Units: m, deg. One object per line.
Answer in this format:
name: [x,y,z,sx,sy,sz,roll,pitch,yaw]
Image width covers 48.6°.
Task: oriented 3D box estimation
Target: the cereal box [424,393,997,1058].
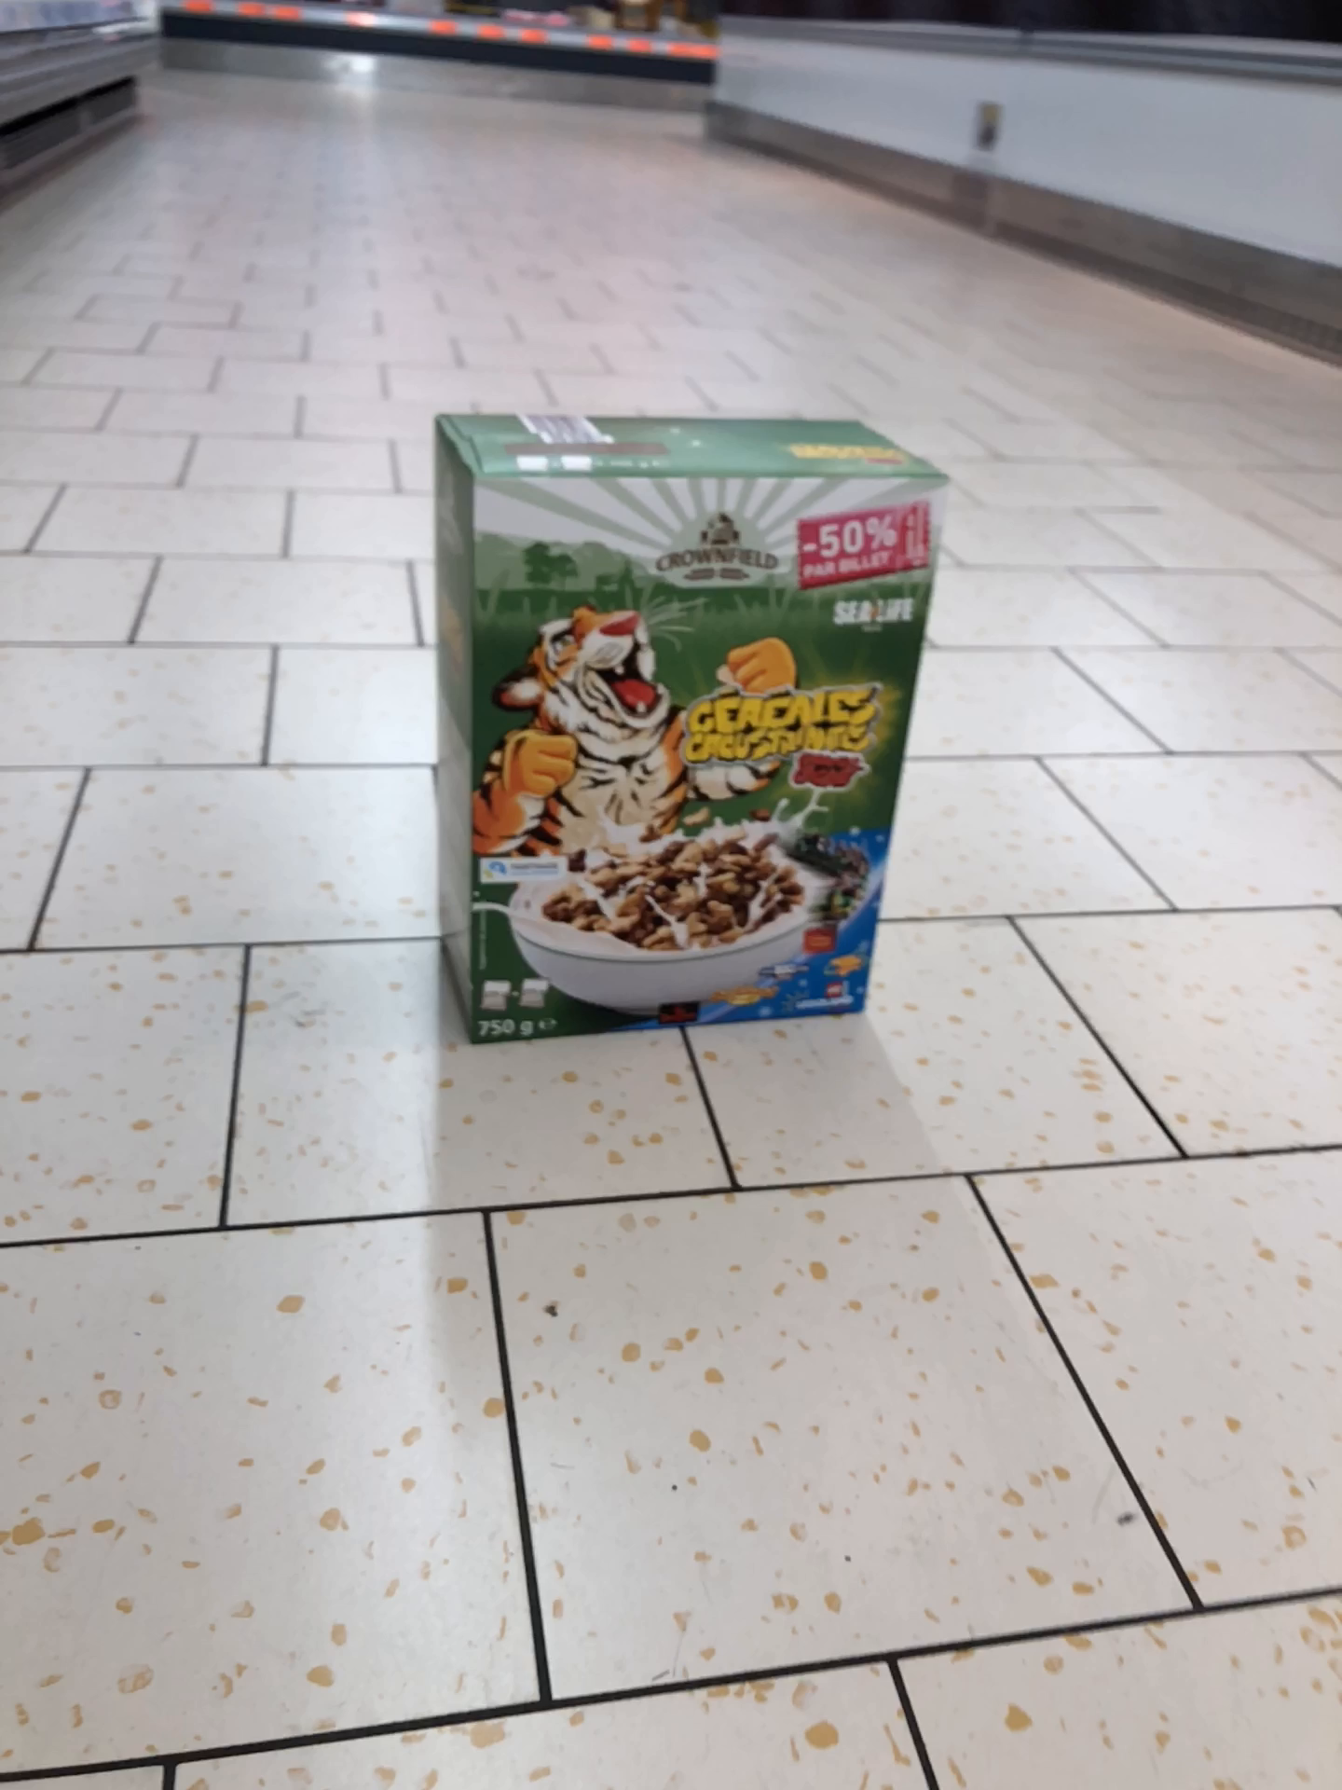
cereal box: [0.003,-0.076,0.663,0.210,0.258,0.110,-4,30,-16]
